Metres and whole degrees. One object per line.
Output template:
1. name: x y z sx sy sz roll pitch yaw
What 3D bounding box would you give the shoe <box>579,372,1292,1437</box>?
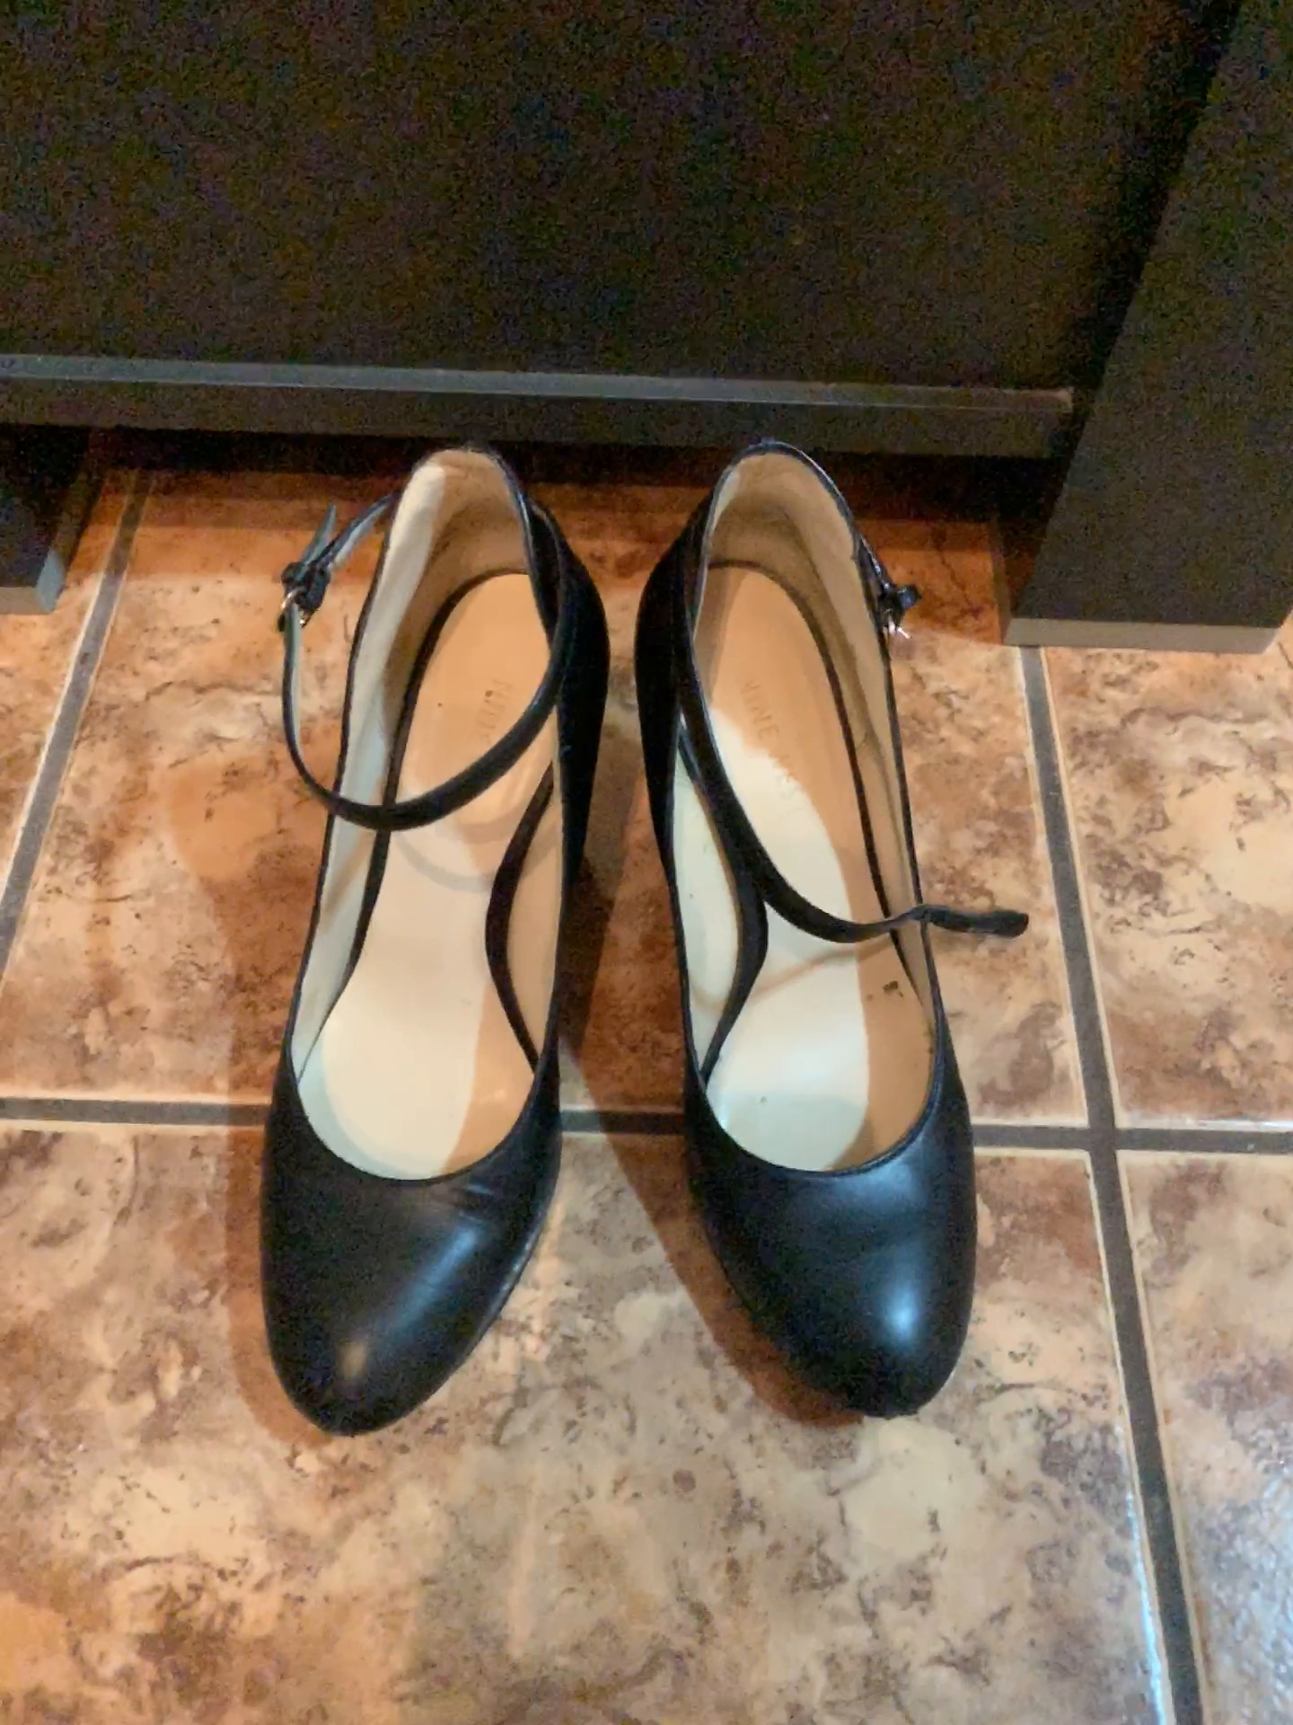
1. shoe: 0.044 0.011 0.324 0.087 0.140 0.210 -8 60 -6

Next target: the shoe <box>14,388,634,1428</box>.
1. shoe: -0.053 0.018 0.329 0.079 0.159 0.201 5 59 2
